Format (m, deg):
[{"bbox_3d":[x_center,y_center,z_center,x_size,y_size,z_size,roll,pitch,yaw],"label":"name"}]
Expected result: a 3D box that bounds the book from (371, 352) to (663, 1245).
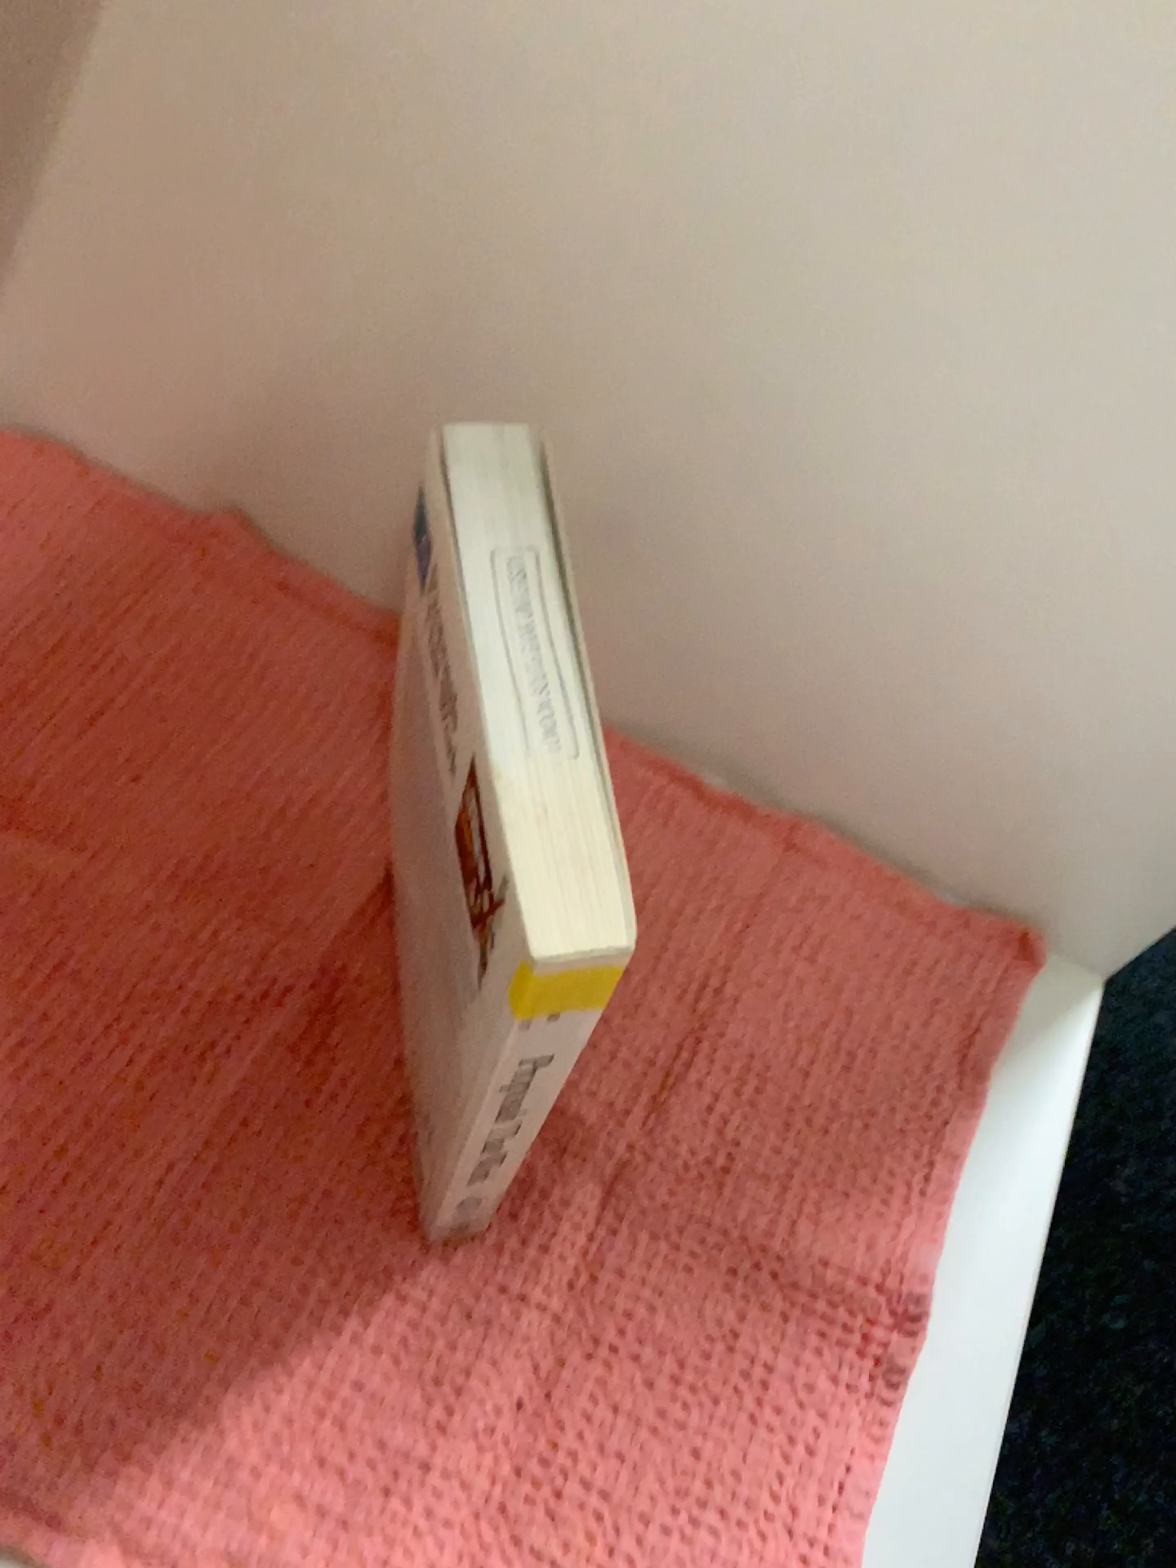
[{"bbox_3d":[-0.040,0.022,0.385,0.030,0.239,0.181,-2,57,-15],"label":"book"}]
